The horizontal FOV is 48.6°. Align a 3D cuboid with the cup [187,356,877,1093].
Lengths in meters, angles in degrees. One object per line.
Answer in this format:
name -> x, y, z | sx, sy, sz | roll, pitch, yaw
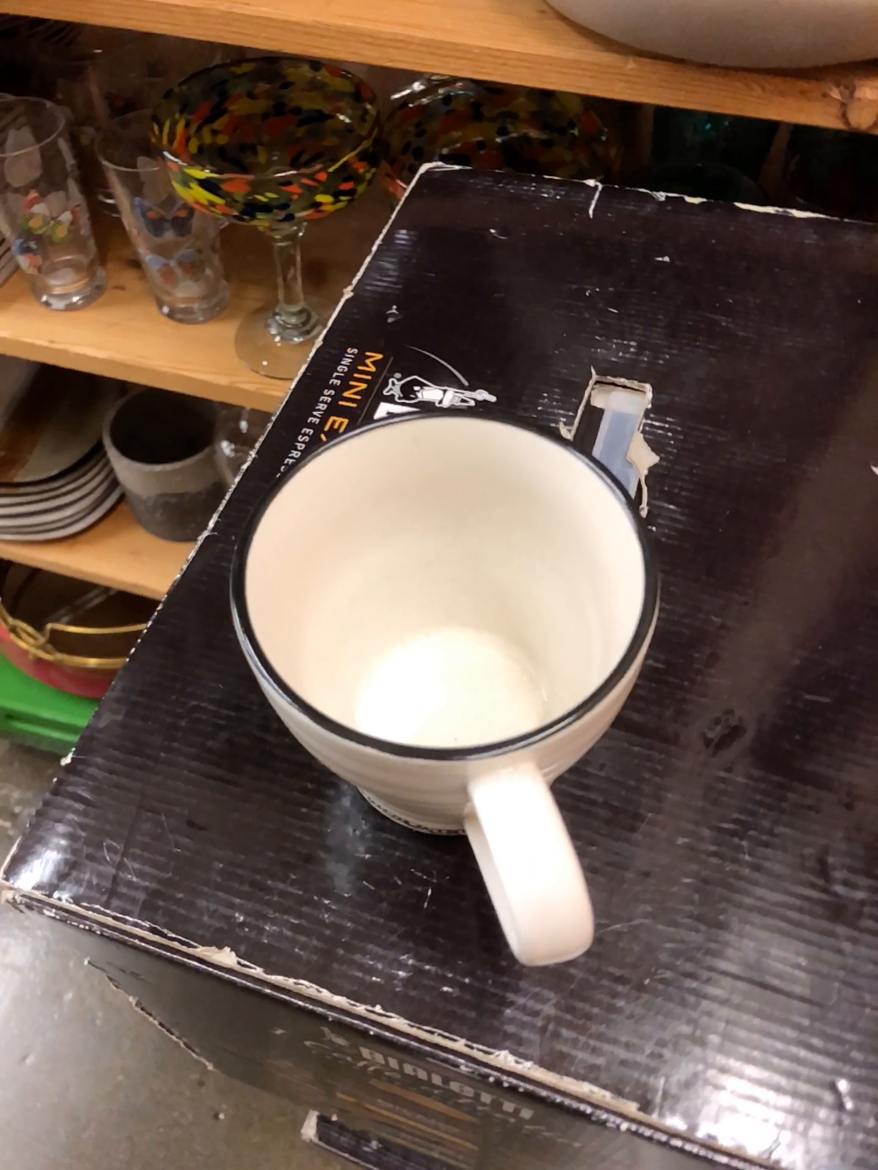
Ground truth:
cup -> 0.013, 0.030, 0.241 | 0.101, 0.084, 0.131 | -20, 57, -12
